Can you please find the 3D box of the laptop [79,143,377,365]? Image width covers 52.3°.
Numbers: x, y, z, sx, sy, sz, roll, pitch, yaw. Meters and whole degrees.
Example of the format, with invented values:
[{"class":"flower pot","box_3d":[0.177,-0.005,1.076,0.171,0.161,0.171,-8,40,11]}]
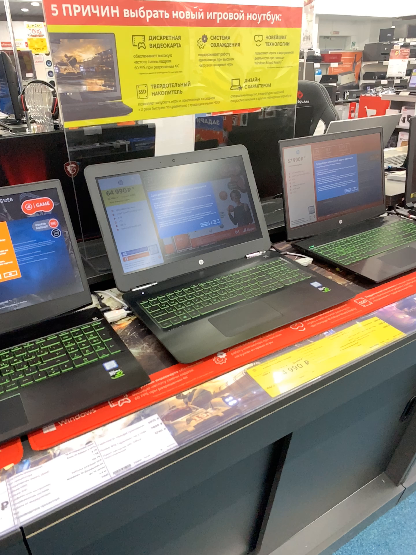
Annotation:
[{"class":"laptop","box_3d":[0.021,-0.093,0.808,0.385,0.223,0.380,-16,31,-29]}]
